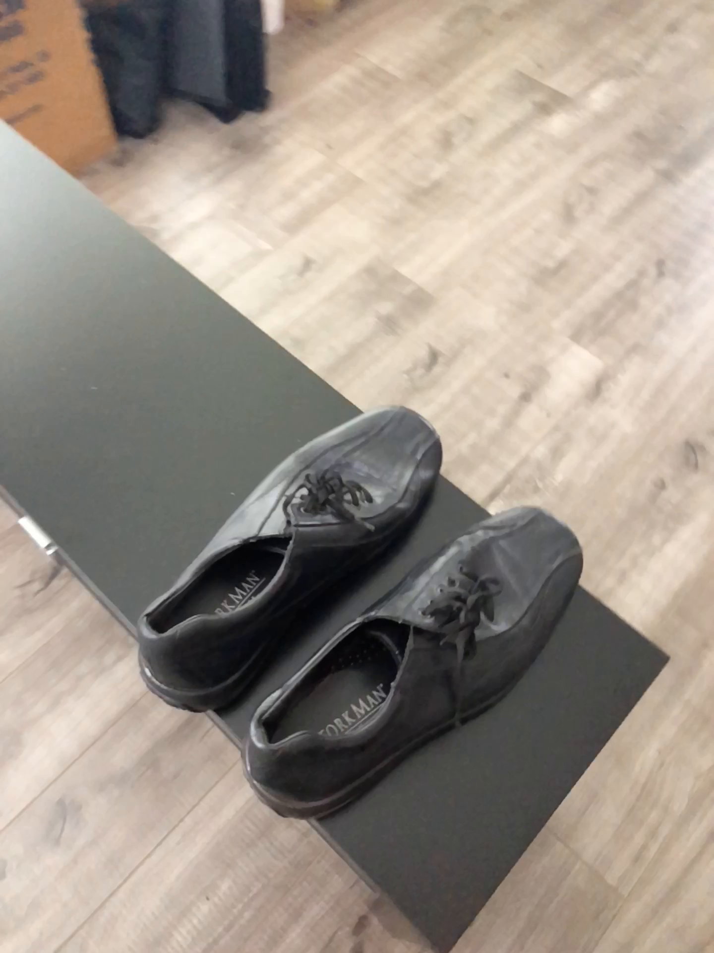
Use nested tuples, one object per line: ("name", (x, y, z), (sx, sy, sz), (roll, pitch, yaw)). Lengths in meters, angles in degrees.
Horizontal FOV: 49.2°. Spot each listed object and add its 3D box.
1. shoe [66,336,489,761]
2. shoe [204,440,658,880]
("shoe", (-0.044, 0.045, 0.559), (0.110, 0.110, 0.283), (38, 66, 18))
("shoe", (0.053, 0.118, 0.529), (0.286, 0.110, 0.110), (-37, 68, -21))
